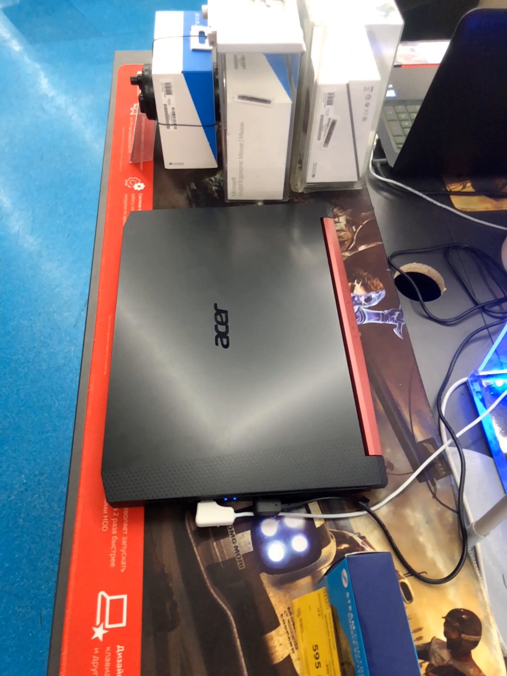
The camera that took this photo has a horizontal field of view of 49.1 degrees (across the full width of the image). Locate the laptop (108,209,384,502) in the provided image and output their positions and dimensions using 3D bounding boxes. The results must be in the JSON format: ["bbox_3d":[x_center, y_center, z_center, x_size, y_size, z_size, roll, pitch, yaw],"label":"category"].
[{"bbox_3d":[-0.019,-0.008,0.588,0.242,0.005,0.352,-3,56,-2],"label":"laptop"}]
